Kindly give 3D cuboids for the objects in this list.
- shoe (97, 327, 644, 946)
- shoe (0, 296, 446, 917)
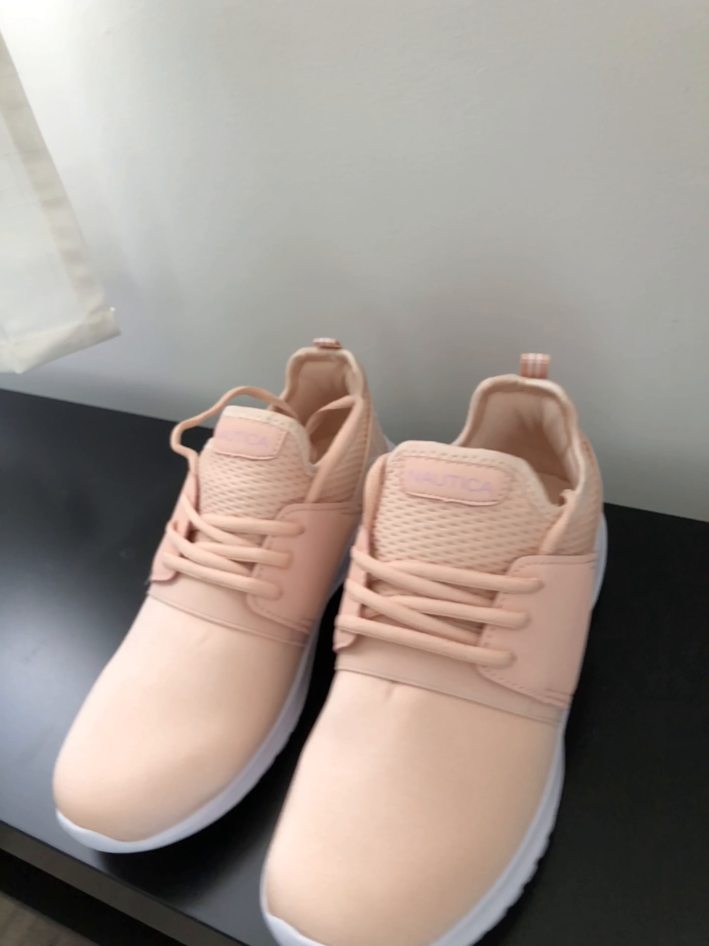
[{"bbox_3d":[0.033,0.059,0.306,0.100,0.110,0.240,11,45,24],"label":"shoe"},{"bbox_3d":[-0.052,0.034,0.358,0.100,0.110,0.250,11,45,24],"label":"shoe"}]
